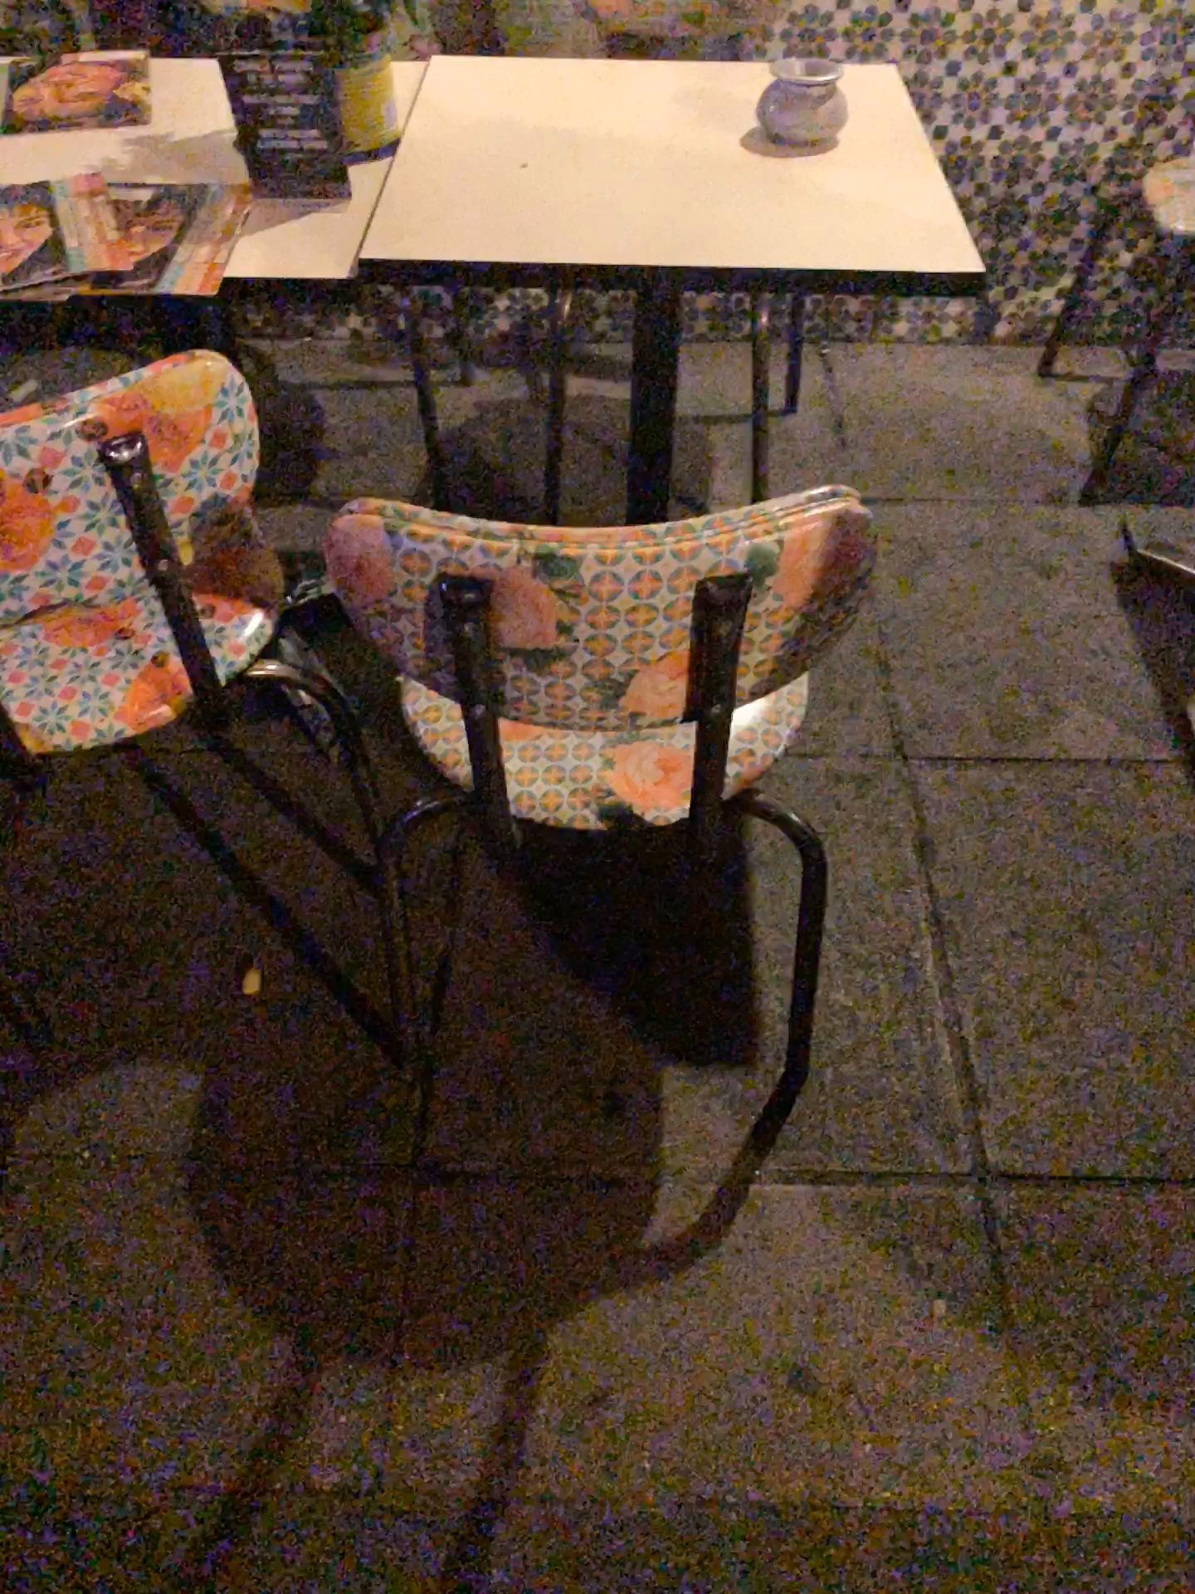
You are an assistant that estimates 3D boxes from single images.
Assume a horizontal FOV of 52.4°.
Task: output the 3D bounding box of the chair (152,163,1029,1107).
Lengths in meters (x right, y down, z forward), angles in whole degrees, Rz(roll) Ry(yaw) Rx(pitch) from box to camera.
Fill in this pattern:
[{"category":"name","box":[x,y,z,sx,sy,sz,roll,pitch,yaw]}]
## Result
[{"category":"chair","box":[-0.004,-0.127,1.171,0.520,0.694,0.575,0,49,0]}]
